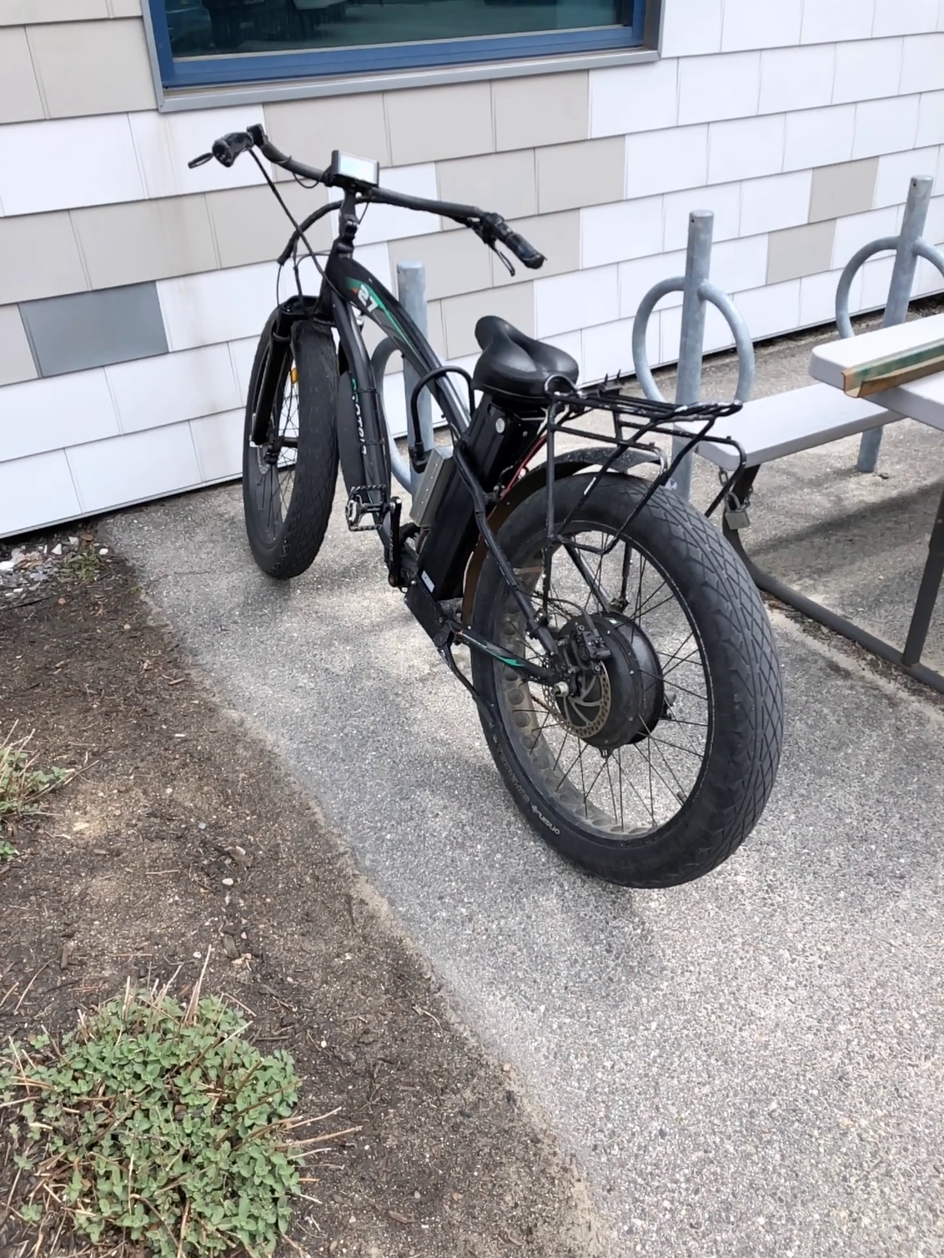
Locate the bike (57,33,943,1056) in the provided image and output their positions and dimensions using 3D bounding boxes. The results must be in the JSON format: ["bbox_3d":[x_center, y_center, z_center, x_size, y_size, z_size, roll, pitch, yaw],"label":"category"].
[{"bbox_3d":[0.000,-0.427,2.116,0.913,1.132,1.865,-21,41,-26],"label":"bike"}]
